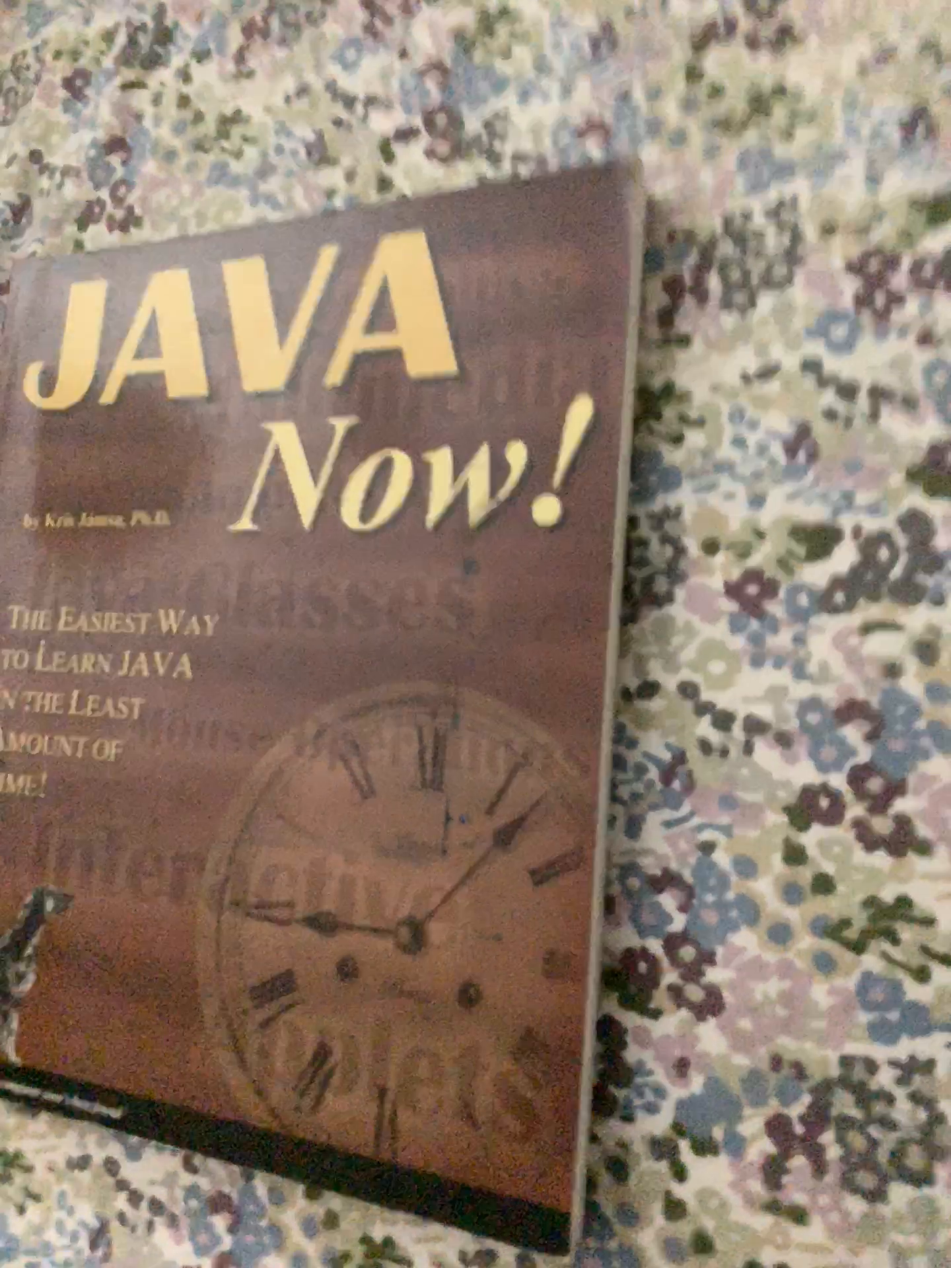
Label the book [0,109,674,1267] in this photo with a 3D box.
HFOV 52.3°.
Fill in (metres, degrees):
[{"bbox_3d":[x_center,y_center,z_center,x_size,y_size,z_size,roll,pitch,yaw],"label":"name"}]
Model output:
[{"bbox_3d":[-0.067,0.010,0.256,0.221,0.030,0.260,1,82,22],"label":"book"}]
